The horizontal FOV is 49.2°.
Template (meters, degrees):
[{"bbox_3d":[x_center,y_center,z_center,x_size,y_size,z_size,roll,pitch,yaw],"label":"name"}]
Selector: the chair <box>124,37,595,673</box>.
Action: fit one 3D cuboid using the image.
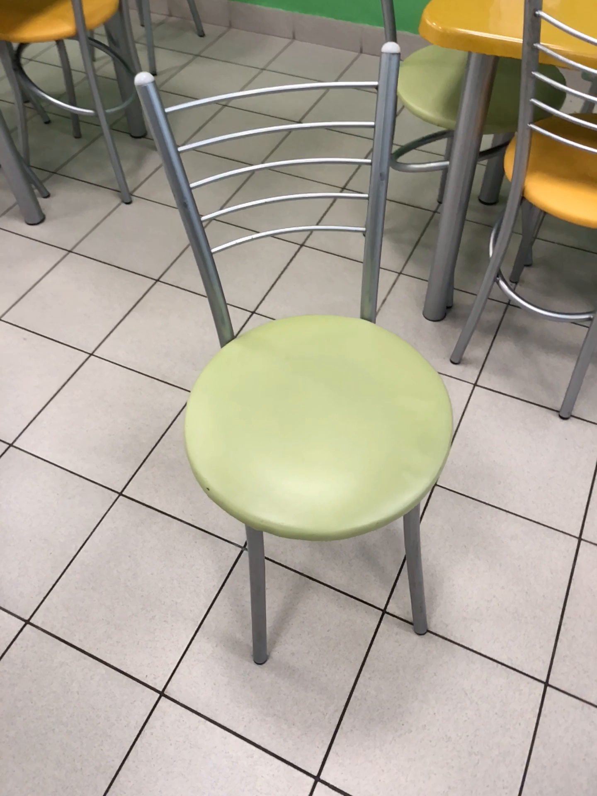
[{"bbox_3d":[0.027,0.014,0.984,0.374,0.826,0.481,-9,52,-5],"label":"chair"}]
